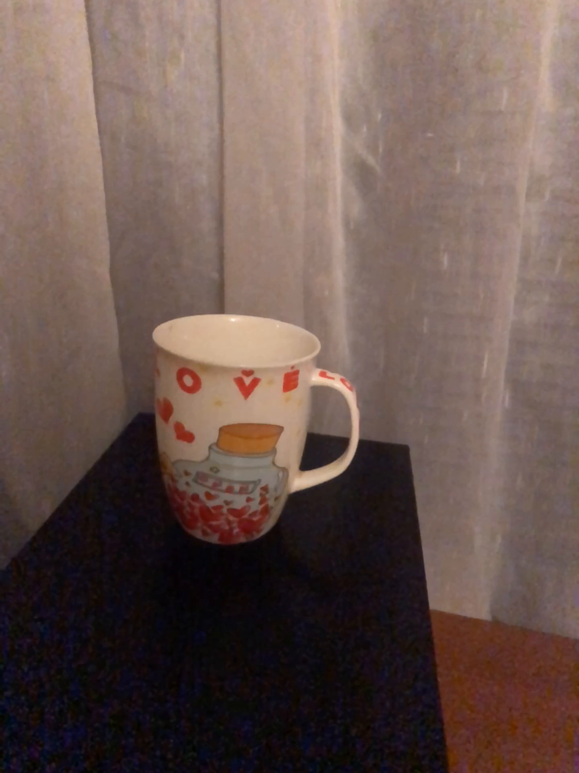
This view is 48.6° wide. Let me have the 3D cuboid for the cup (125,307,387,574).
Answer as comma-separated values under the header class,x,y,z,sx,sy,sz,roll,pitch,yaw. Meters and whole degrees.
class,x,y,z,sx,sy,sz,roll,pitch,yaw
cup,-0.013,0.022,0.323,0.111,0.098,0.079,6,21,6
